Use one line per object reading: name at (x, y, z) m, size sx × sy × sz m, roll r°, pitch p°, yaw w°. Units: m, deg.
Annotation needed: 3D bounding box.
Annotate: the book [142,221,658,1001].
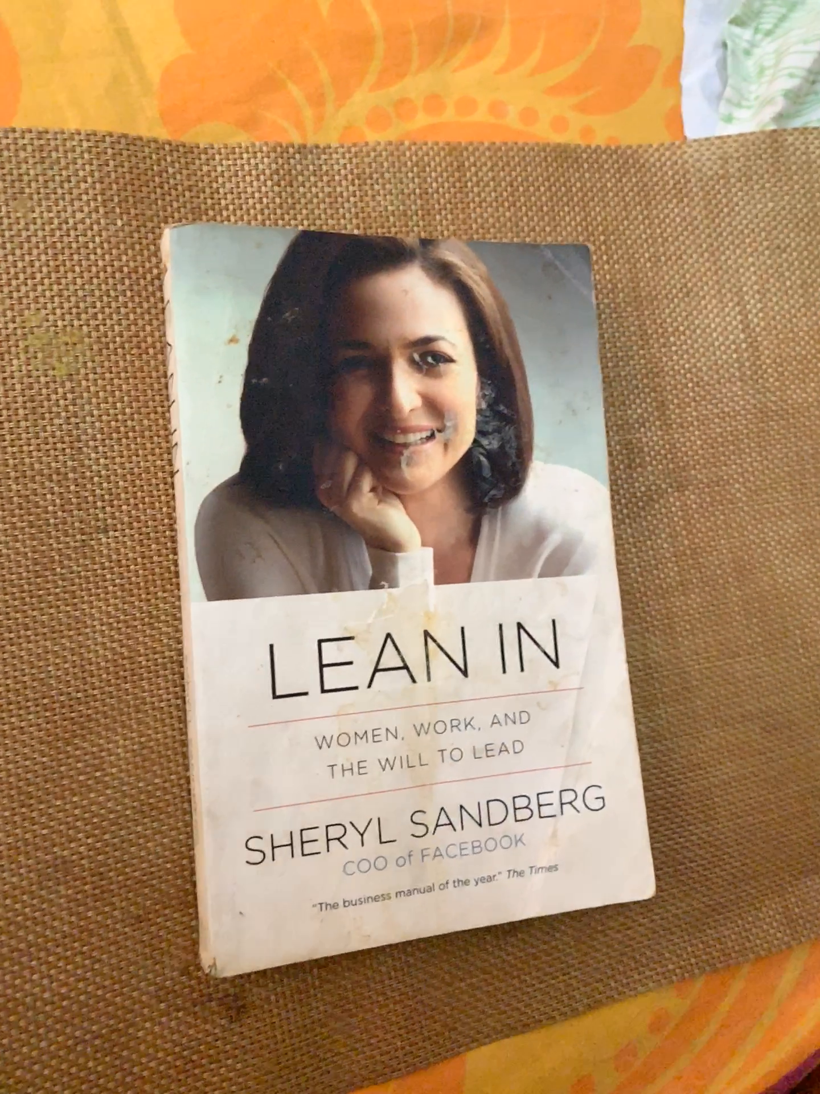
book at (-0.004, 0.011, 0.264) m, size 0.141 × 0.026 × 0.212 m, roll -3°, pitch 84°, yaw -16°
